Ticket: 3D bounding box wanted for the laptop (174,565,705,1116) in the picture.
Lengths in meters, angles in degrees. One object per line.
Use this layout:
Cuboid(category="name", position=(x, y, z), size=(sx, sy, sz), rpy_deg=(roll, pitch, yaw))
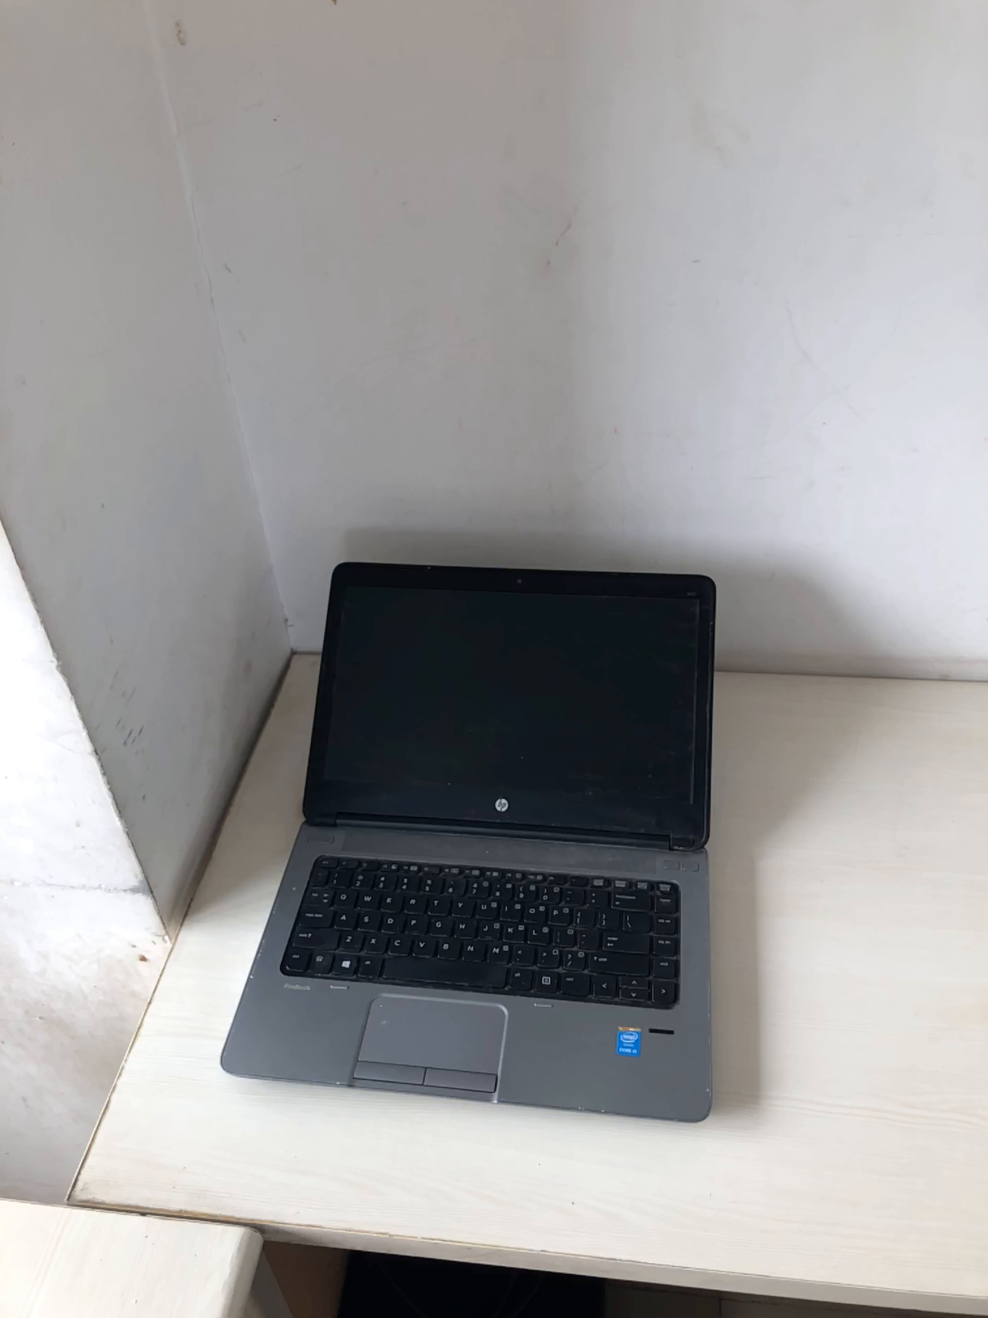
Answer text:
Cuboid(category="laptop", position=(-0.006, 0.110, 0.856), size=(0.327, 0.137, 0.408), rpy_deg=(4, 41, 7))
